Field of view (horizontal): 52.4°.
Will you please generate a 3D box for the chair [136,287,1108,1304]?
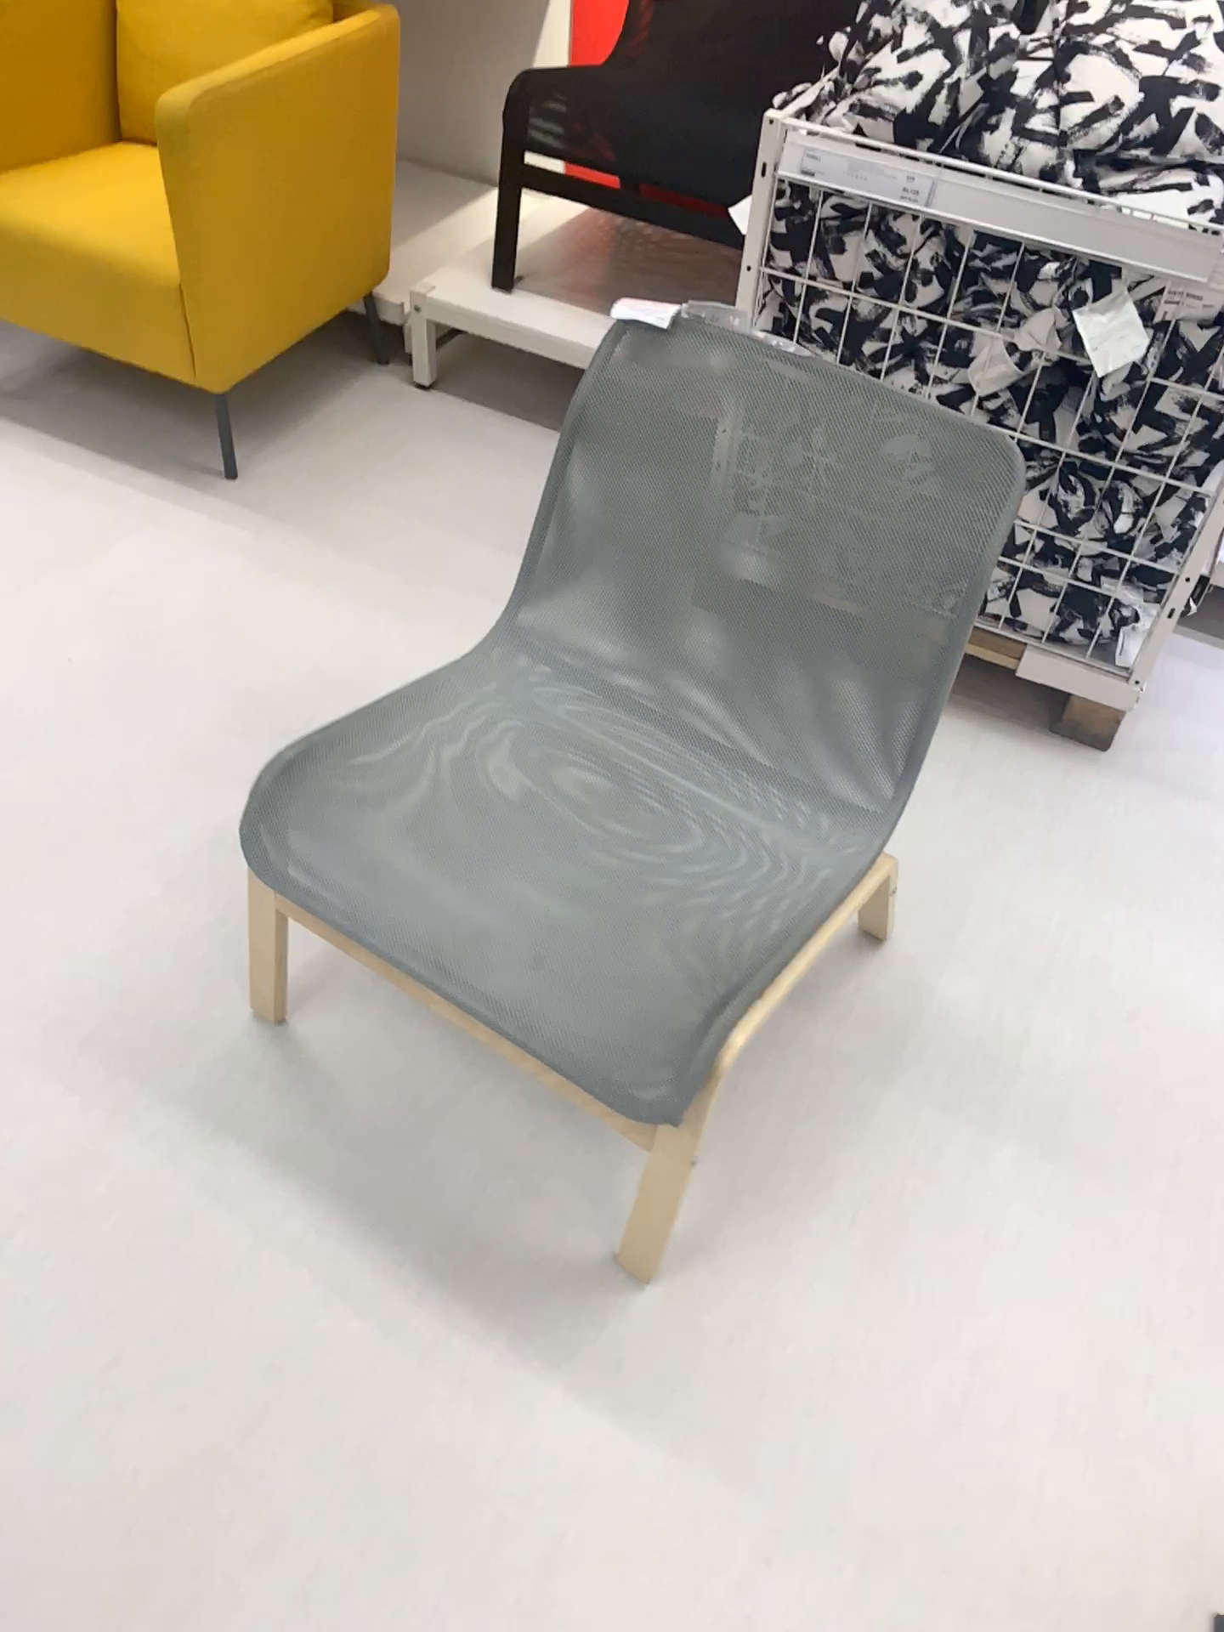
[{"bbox_3d":[0.029,-0.061,1.452,0.631,0.698,0.752,29,50,21],"label":"chair"}]
